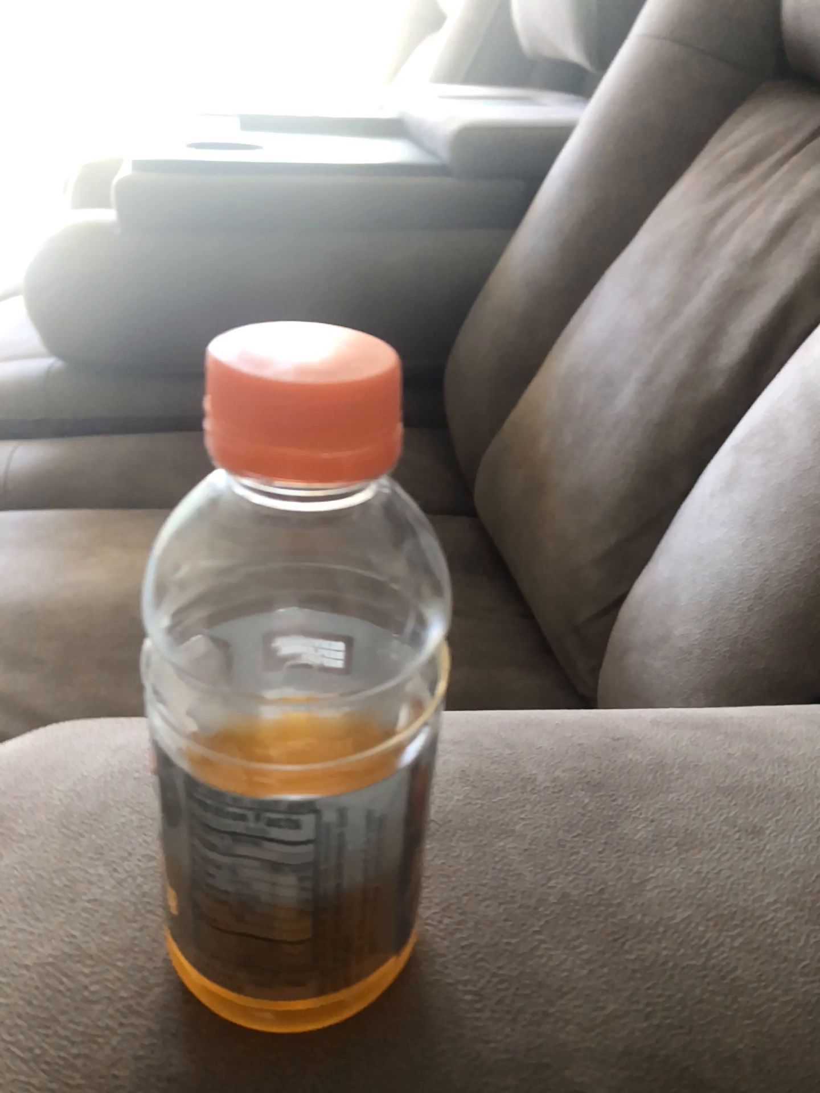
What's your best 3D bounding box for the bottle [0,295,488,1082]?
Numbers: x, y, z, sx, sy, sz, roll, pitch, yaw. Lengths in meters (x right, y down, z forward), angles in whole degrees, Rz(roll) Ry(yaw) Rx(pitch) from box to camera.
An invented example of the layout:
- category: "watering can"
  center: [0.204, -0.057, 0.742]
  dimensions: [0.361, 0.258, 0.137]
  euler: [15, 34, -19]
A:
- category: "bottle"
  center: [-0.027, 0.032, 0.200]
  dimensions: [0.070, 0.149, 0.070]
  euler: [1, 30, 0]
